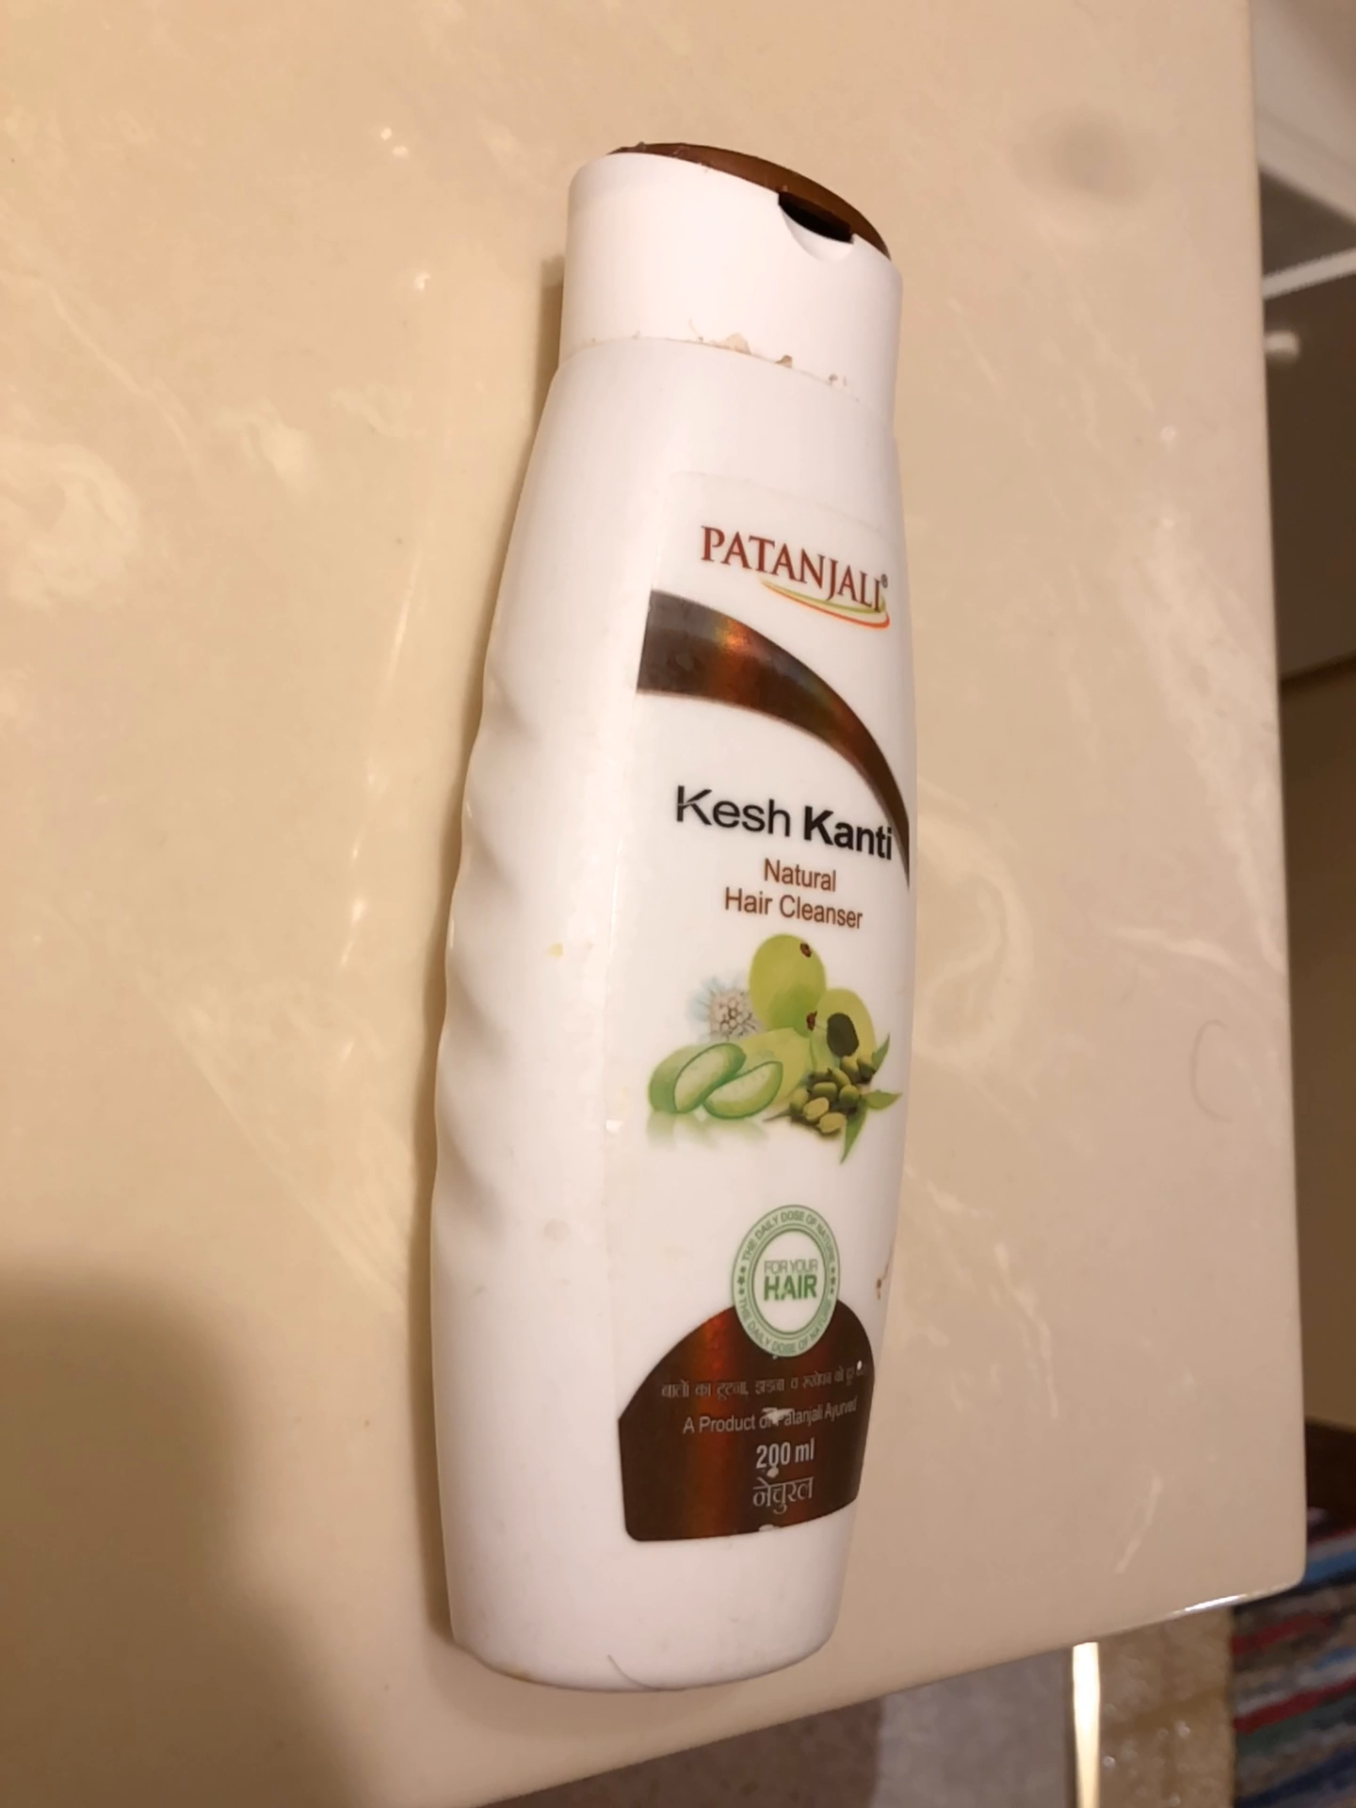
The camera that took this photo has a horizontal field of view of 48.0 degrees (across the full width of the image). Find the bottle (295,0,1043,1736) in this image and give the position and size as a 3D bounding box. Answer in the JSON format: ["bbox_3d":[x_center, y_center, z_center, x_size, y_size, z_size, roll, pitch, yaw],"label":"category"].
[{"bbox_3d":[0.003,-0.012,0.195,0.070,0.040,0.200,10,80,-31],"label":"bottle"}]
